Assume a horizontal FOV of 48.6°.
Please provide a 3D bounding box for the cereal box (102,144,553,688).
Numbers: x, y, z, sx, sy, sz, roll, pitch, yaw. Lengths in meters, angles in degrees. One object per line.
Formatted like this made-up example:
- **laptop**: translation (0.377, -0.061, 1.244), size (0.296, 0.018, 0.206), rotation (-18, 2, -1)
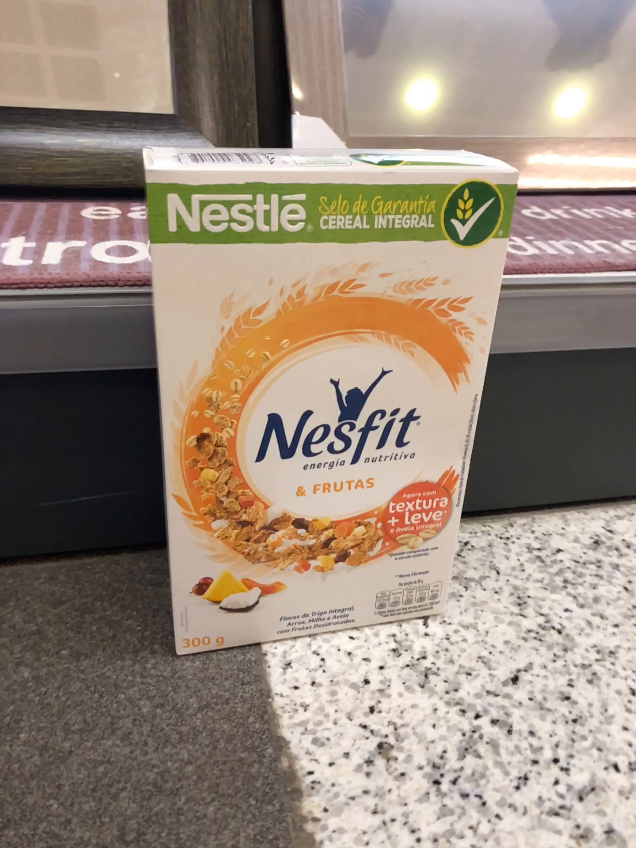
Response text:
- **cereal box**: translation (-0.003, 0.002, 0.342), size (0.170, 0.248, 0.060), rotation (-6, 31, -15)
